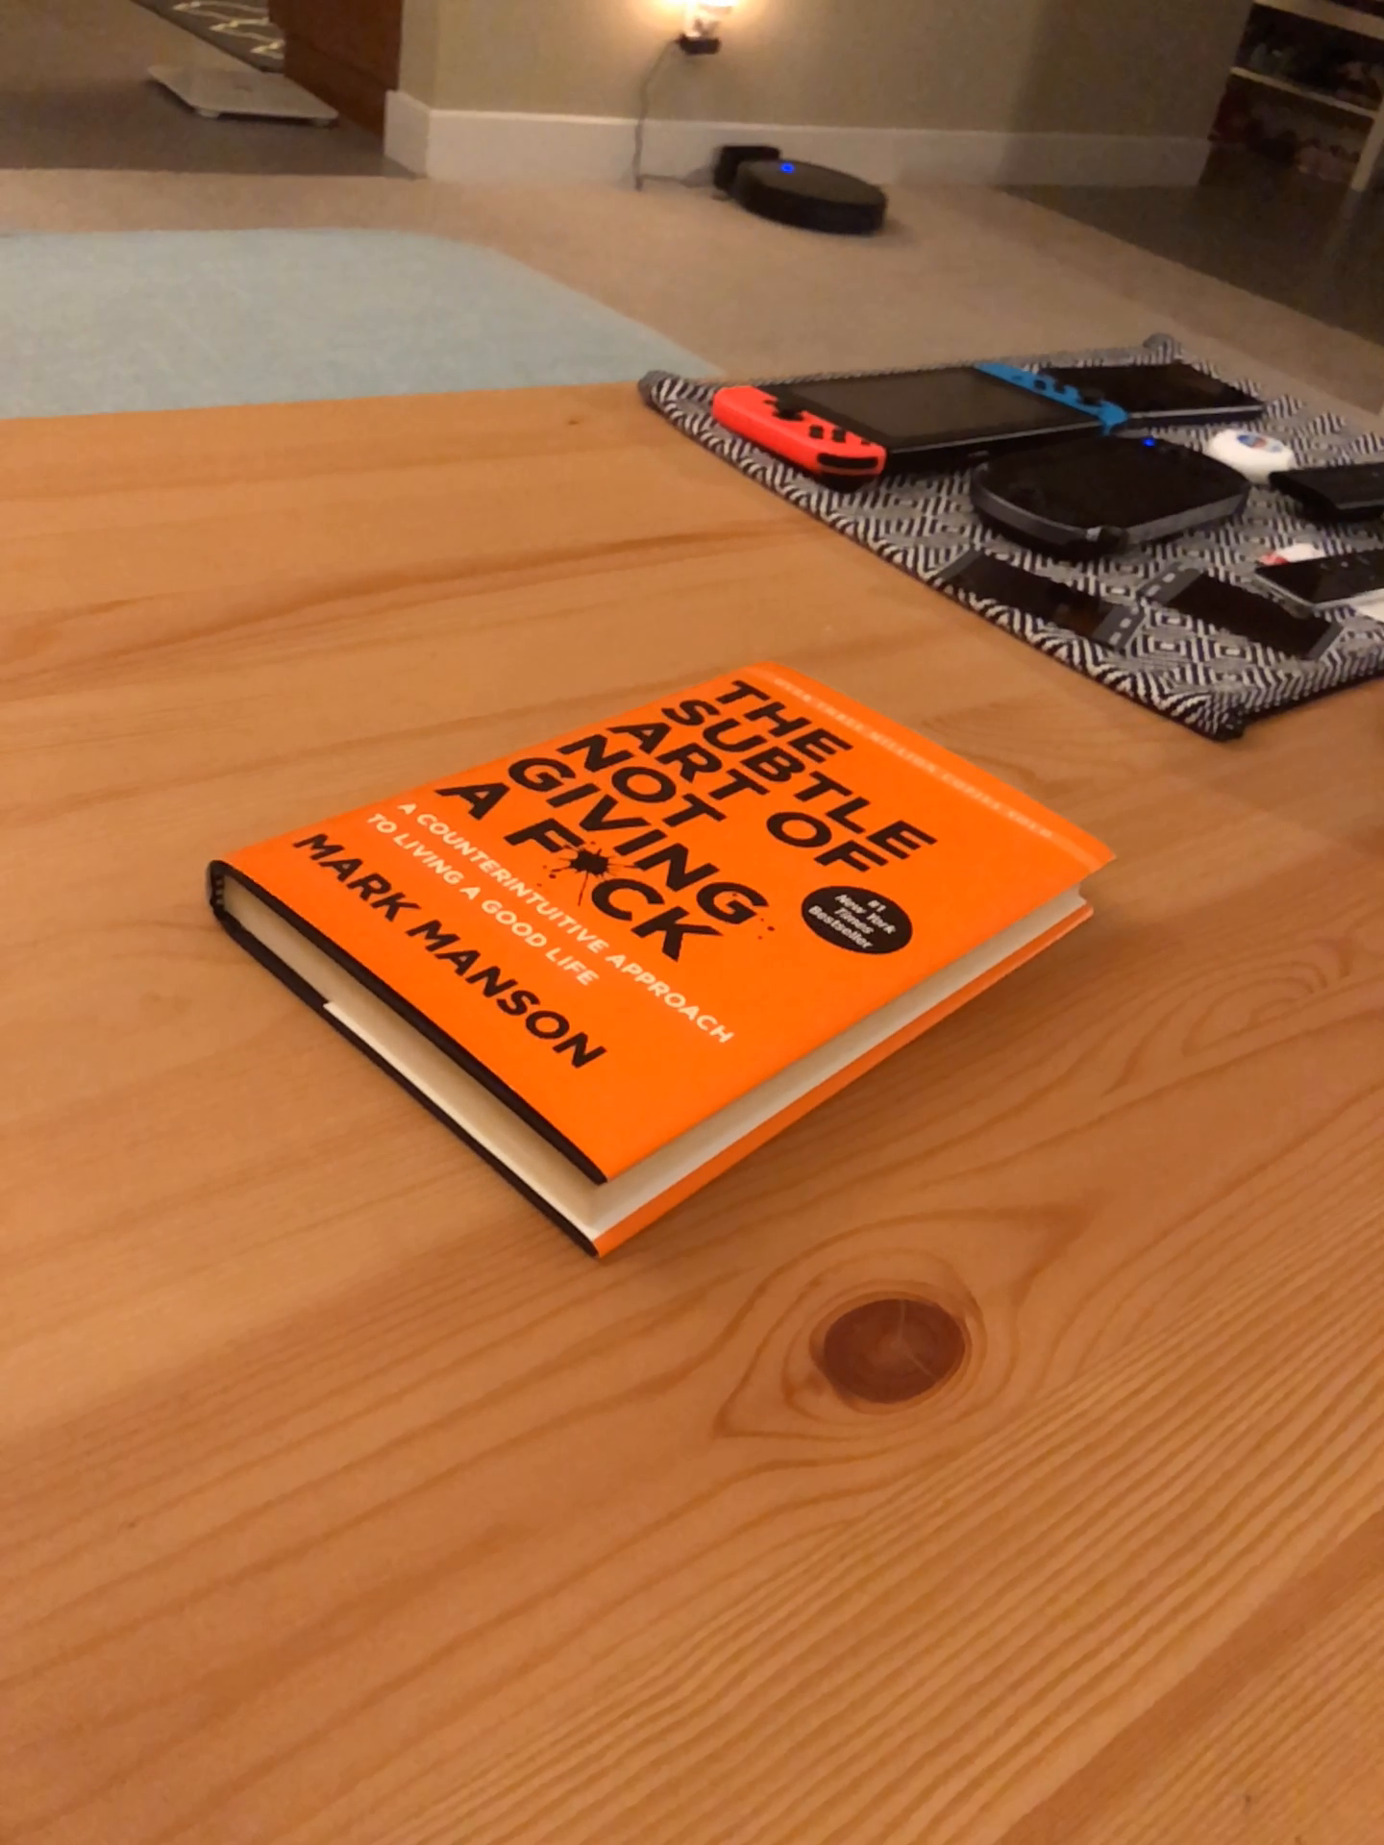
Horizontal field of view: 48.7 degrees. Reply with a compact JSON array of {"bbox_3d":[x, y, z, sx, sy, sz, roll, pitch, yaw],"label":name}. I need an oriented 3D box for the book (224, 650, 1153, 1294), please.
[{"bbox_3d":[0.006,-0.007,0.448,0.160,0.030,0.221,35,44,30],"label":"book"}]
